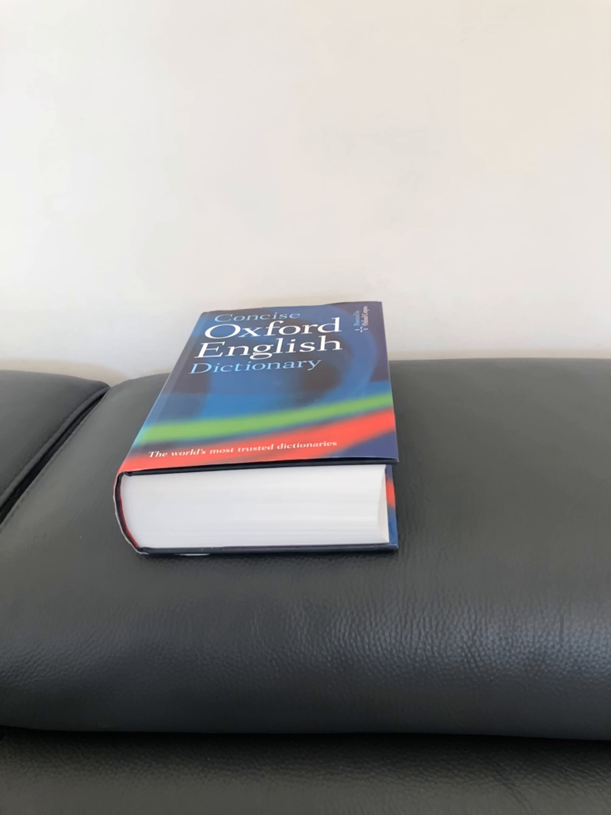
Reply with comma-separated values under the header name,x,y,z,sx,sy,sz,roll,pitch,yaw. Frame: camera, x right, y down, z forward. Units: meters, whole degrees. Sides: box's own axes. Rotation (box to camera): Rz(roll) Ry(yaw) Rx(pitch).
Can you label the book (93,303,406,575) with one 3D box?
name,x,y,z,sx,sy,sz,roll,pitch,yaw
book,-0.023,0.005,0.488,0.170,0.070,0.251,-3,28,5
